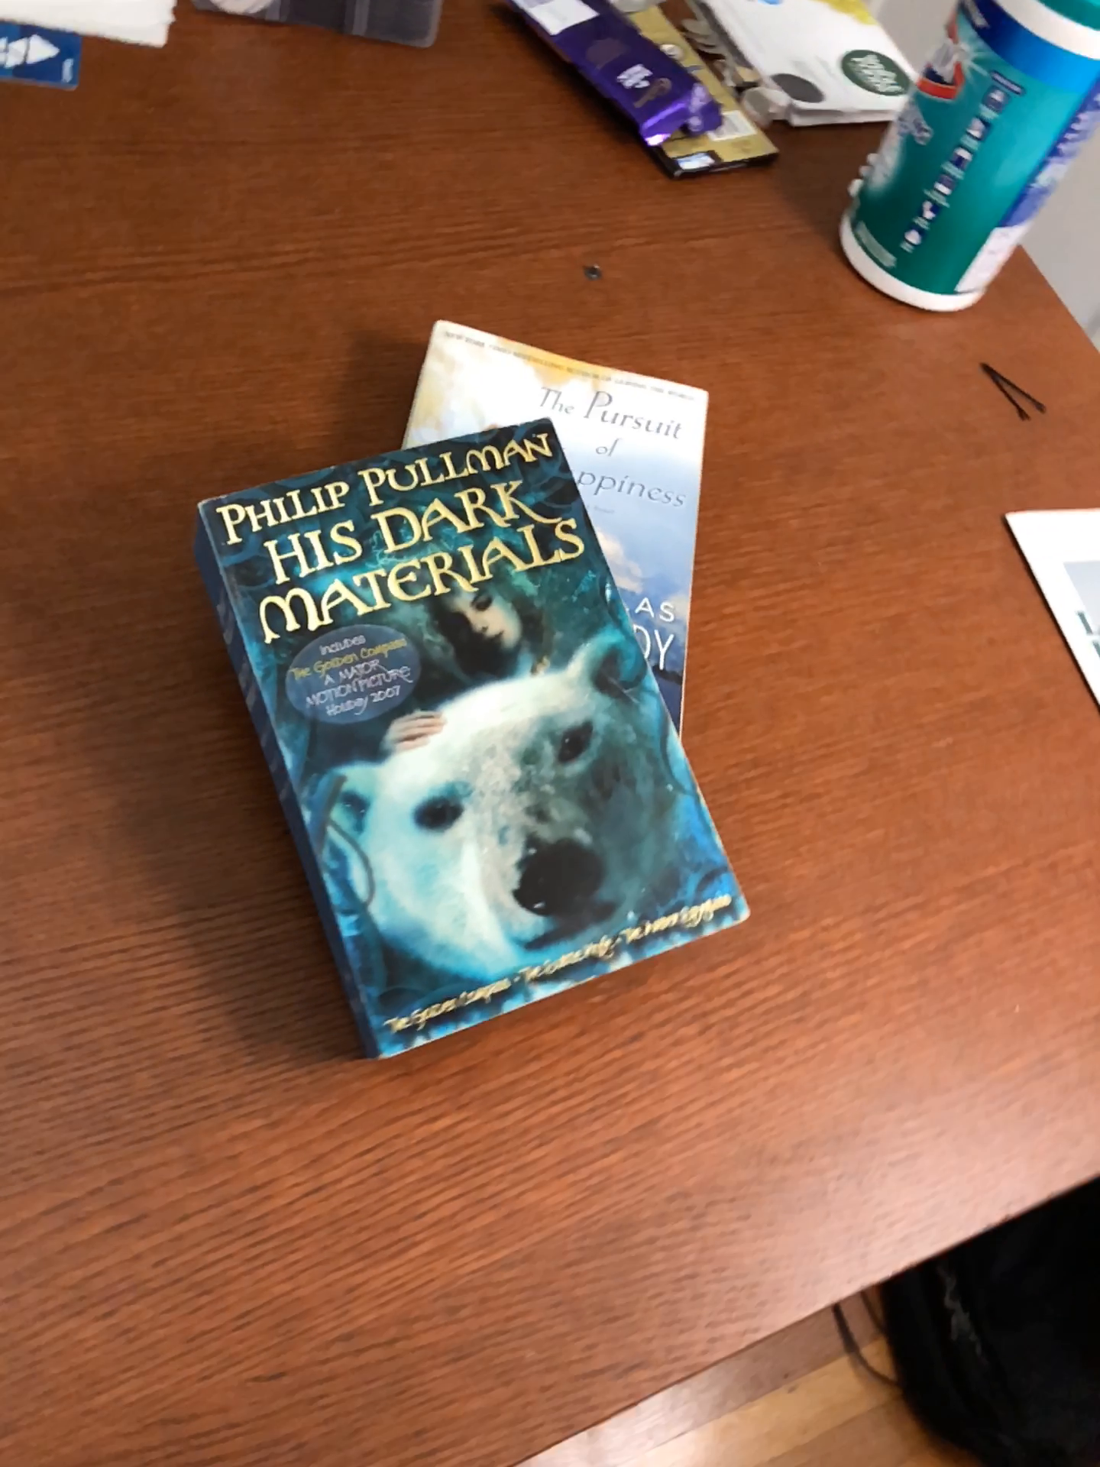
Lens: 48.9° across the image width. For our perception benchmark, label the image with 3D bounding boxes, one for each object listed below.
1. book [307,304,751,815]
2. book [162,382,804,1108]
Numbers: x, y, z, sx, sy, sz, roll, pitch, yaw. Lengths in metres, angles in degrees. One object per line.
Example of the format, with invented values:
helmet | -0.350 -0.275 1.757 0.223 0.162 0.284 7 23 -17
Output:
book | -0.001 -0.094 0.595 0.170 0.040 0.241 13 61 -1
book | -0.030 -0.002 0.482 0.170 0.060 0.240 -19 80 -19
